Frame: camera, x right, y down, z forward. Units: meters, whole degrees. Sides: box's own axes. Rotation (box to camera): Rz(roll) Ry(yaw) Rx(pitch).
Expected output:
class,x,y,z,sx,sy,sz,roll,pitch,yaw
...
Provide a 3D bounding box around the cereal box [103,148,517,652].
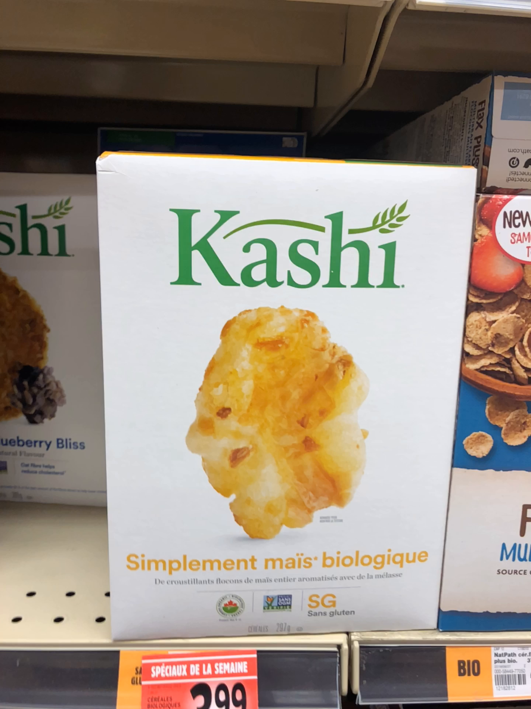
class,x,y,z,sx,sy,sz,roll,pitch,yaw
cereal box,0.018,0.030,0.340,0.200,0.269,0.060,1,13,-5
